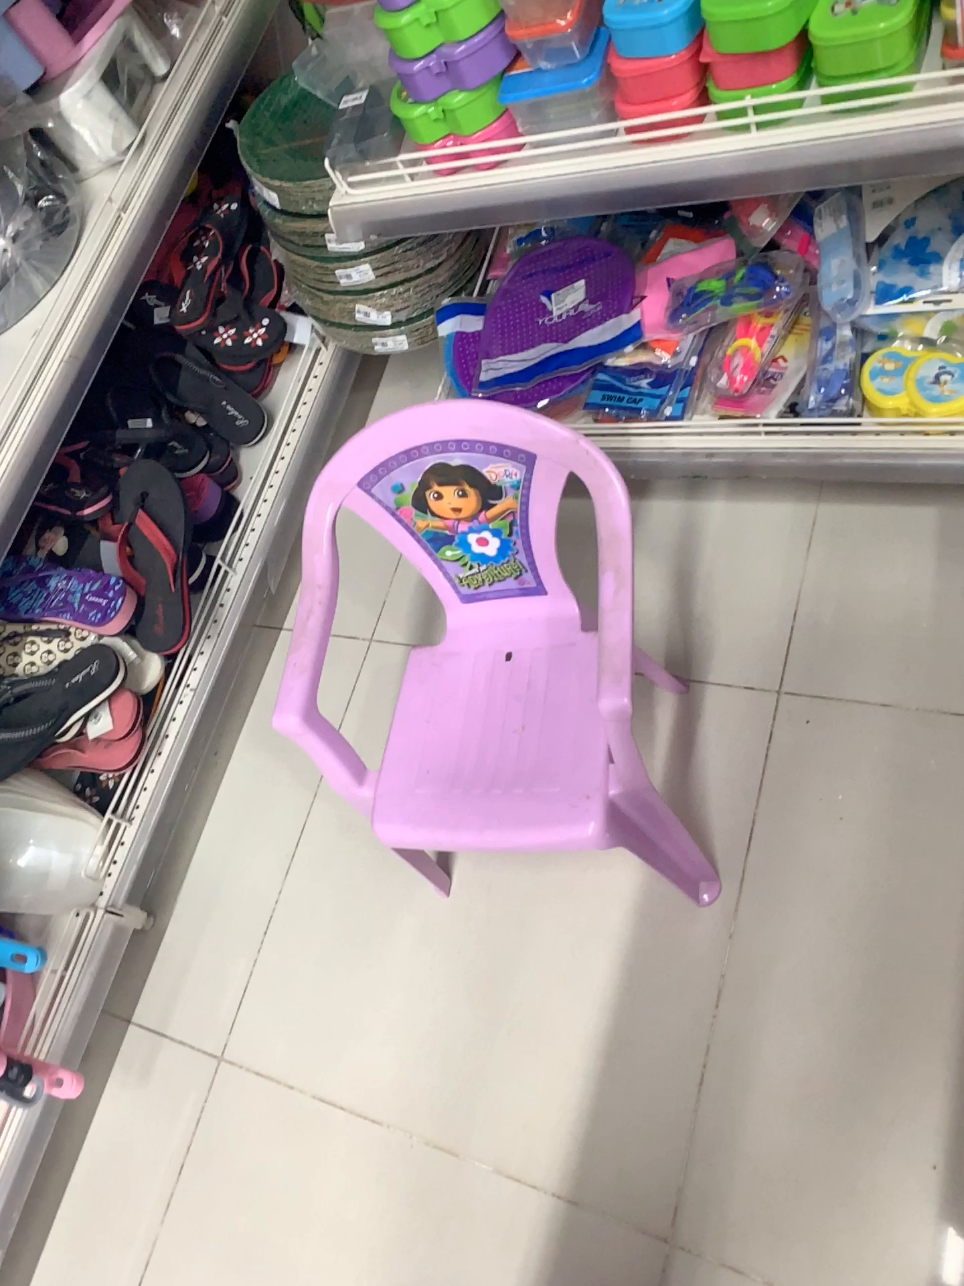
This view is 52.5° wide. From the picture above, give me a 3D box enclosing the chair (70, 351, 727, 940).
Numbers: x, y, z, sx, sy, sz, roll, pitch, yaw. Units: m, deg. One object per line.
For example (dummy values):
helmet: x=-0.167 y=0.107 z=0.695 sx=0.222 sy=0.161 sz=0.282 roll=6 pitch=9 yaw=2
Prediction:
chair: x=-0.021 y=0.049 z=0.893 sx=0.401 sy=0.428 sz=0.340 roll=-5 pitch=63 yaw=24
